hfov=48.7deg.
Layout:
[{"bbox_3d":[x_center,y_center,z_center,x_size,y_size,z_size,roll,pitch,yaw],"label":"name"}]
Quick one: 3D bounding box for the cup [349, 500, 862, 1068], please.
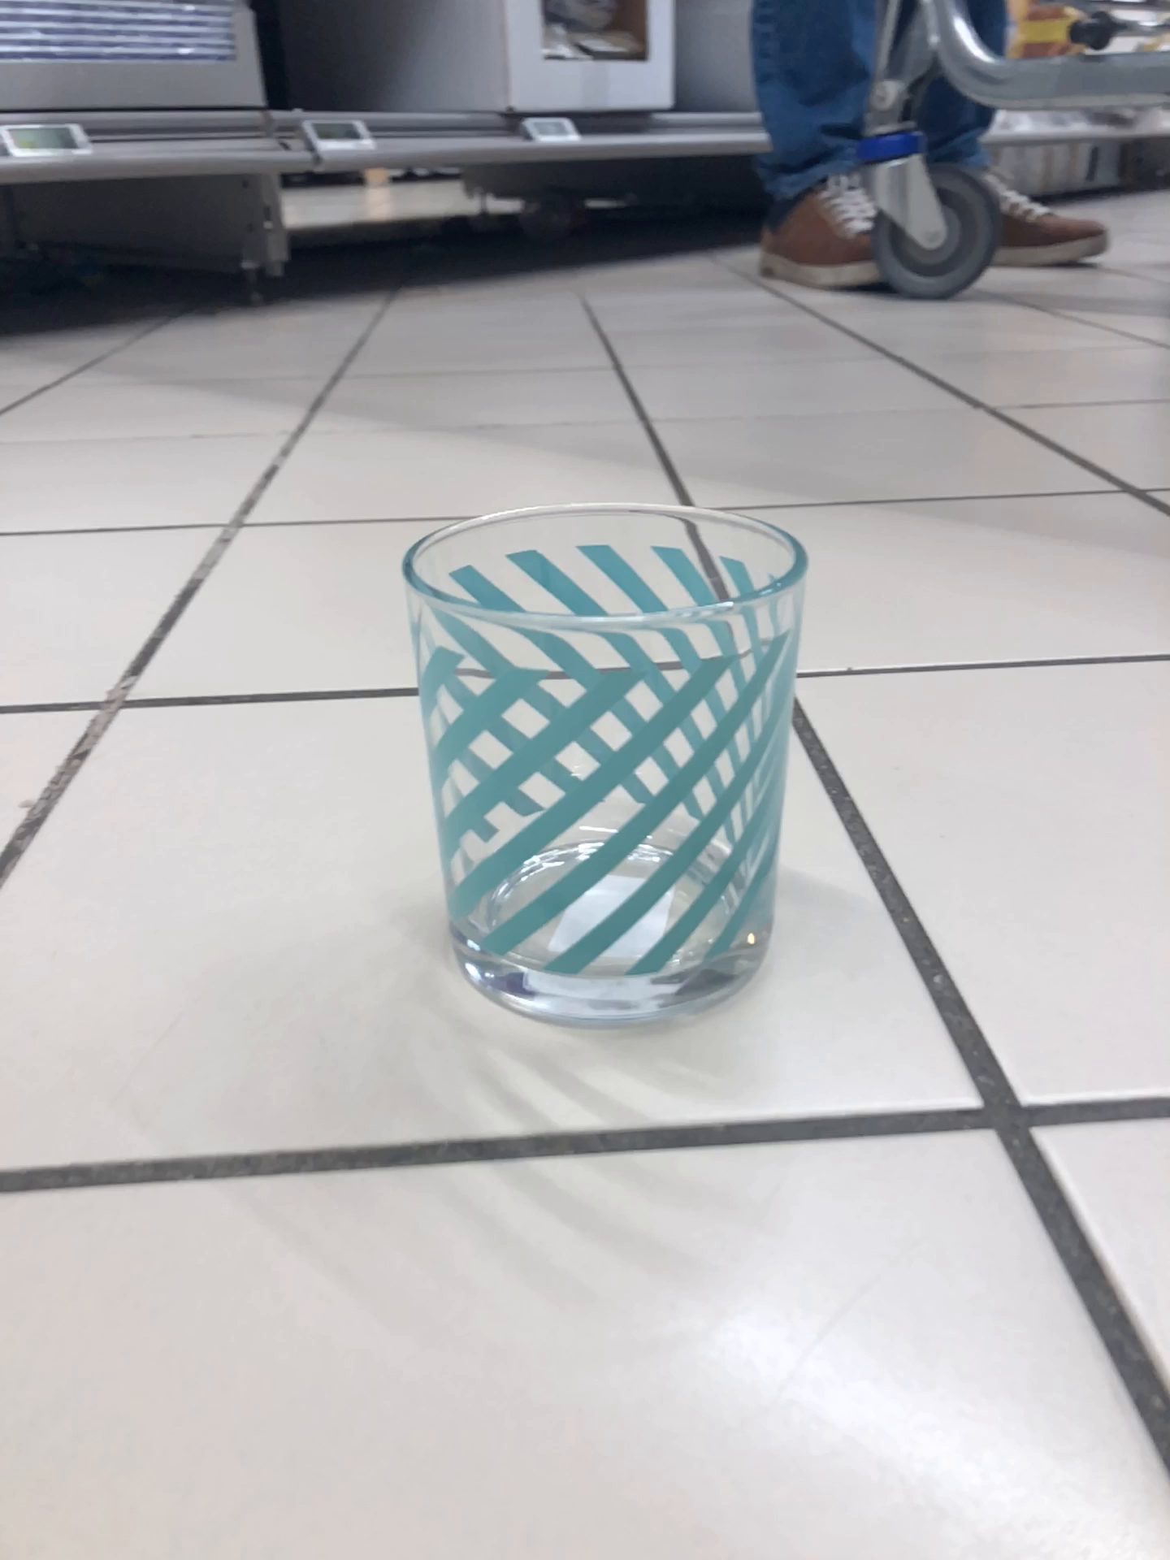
[{"bbox_3d":[0.009,-0.004,0.257,0.079,0.080,0.076,-1,26,1],"label":"cup"}]
